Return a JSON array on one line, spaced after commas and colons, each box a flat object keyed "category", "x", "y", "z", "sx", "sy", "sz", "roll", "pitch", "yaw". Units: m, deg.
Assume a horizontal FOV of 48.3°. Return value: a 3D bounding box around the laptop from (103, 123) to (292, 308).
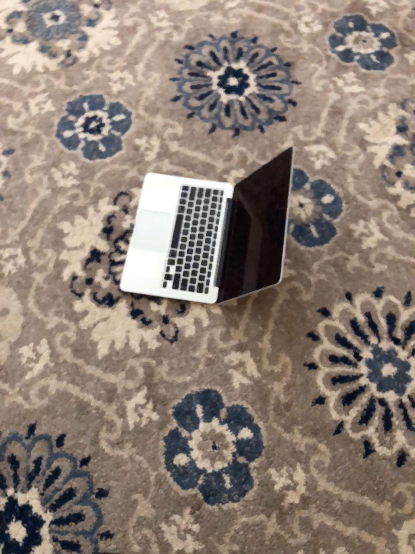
[{"category": "laptop", "x": -0.009, "y": -0.125, "z": 0.981, "sx": 0.321, "sy": 0.171, "sz": 0.300, "roll": 8, "pitch": 69, "yaw": 1}]
